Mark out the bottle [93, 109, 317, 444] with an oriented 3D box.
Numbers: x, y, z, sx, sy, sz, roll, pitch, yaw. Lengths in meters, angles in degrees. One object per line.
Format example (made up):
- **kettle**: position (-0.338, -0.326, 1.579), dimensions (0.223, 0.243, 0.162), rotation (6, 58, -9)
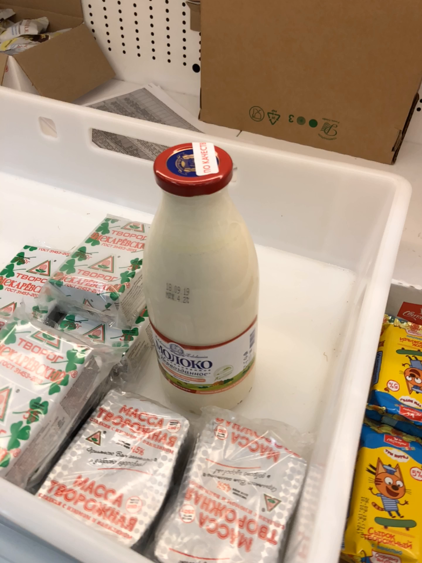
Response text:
- **bottle**: position (-0.002, 0.008, 0.325), dimensions (0.090, 0.209, 0.090), rotation (1, 45, -1)
